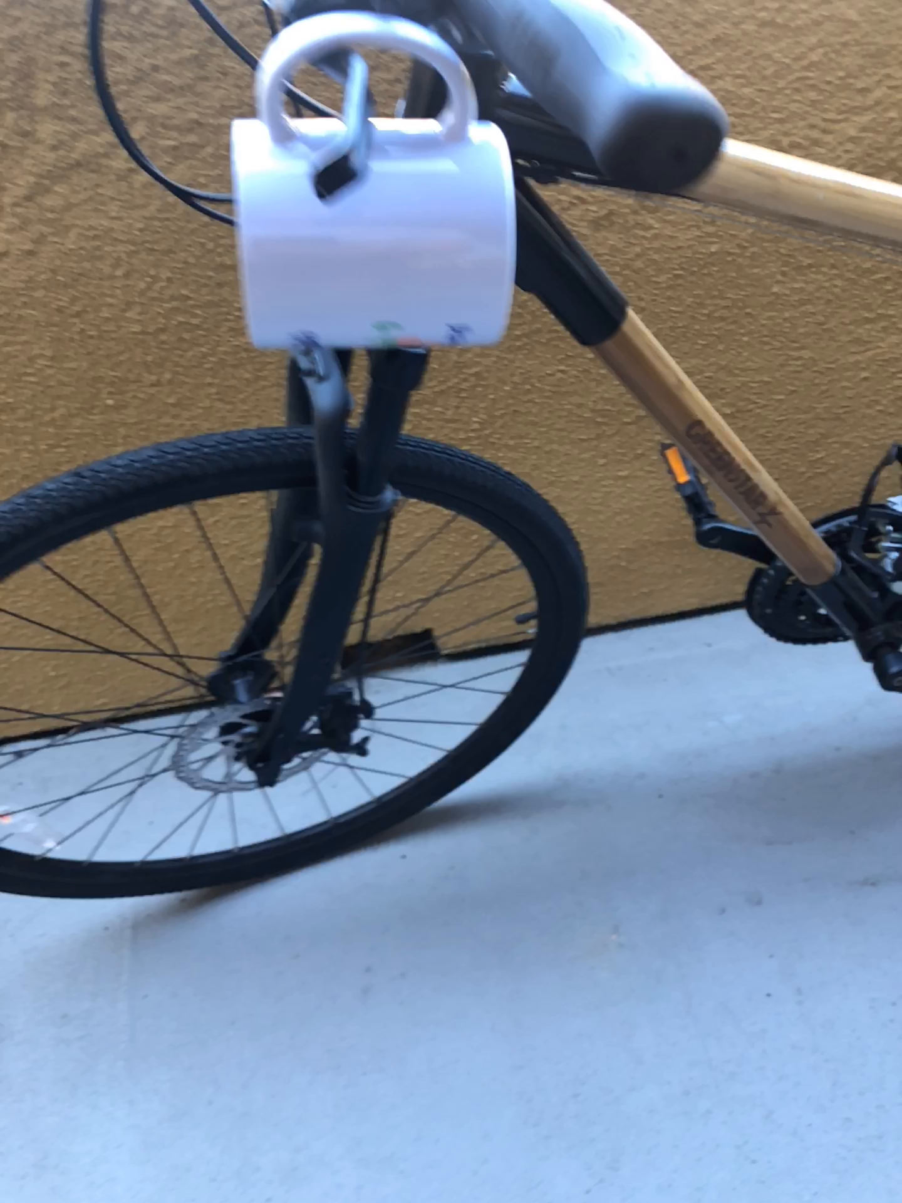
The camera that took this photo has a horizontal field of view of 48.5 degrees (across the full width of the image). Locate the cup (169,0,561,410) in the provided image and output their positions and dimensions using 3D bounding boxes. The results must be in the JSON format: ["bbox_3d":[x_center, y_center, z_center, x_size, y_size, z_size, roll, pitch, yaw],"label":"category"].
[{"bbox_3d":[-0.026,-0.151,0.382,0.120,0.119,0.090,-1,51,0],"label":"cup"}]
